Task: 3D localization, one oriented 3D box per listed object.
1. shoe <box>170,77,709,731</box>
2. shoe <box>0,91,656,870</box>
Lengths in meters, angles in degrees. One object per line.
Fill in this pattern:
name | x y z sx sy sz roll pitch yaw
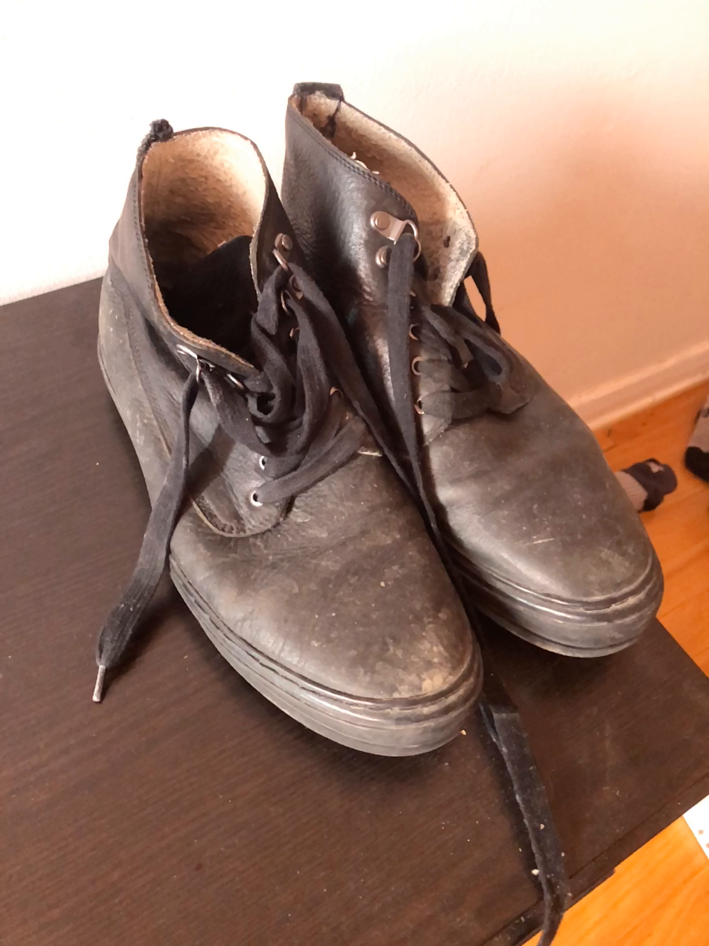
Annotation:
shoe | 0.042 -0.060 0.409 0.120 0.109 0.341 -26 61 -24
shoe | -0.045 -0.026 0.358 0.120 0.109 0.342 -23 59 -22
